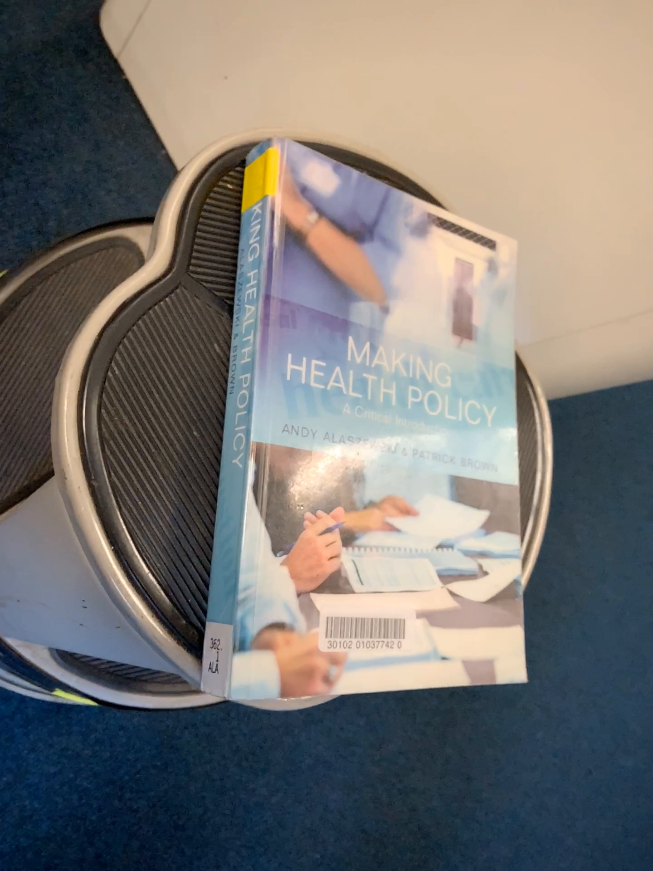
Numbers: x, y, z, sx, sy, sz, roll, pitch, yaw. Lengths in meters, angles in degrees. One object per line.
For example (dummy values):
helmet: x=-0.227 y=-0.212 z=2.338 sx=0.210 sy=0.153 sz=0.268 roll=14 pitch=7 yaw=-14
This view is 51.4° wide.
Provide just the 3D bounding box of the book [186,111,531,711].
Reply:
book: x=0.027 y=-0.006 z=0.317 sx=0.161 sy=0.030 sz=0.240 roll=11 pitch=74 yaw=-33
